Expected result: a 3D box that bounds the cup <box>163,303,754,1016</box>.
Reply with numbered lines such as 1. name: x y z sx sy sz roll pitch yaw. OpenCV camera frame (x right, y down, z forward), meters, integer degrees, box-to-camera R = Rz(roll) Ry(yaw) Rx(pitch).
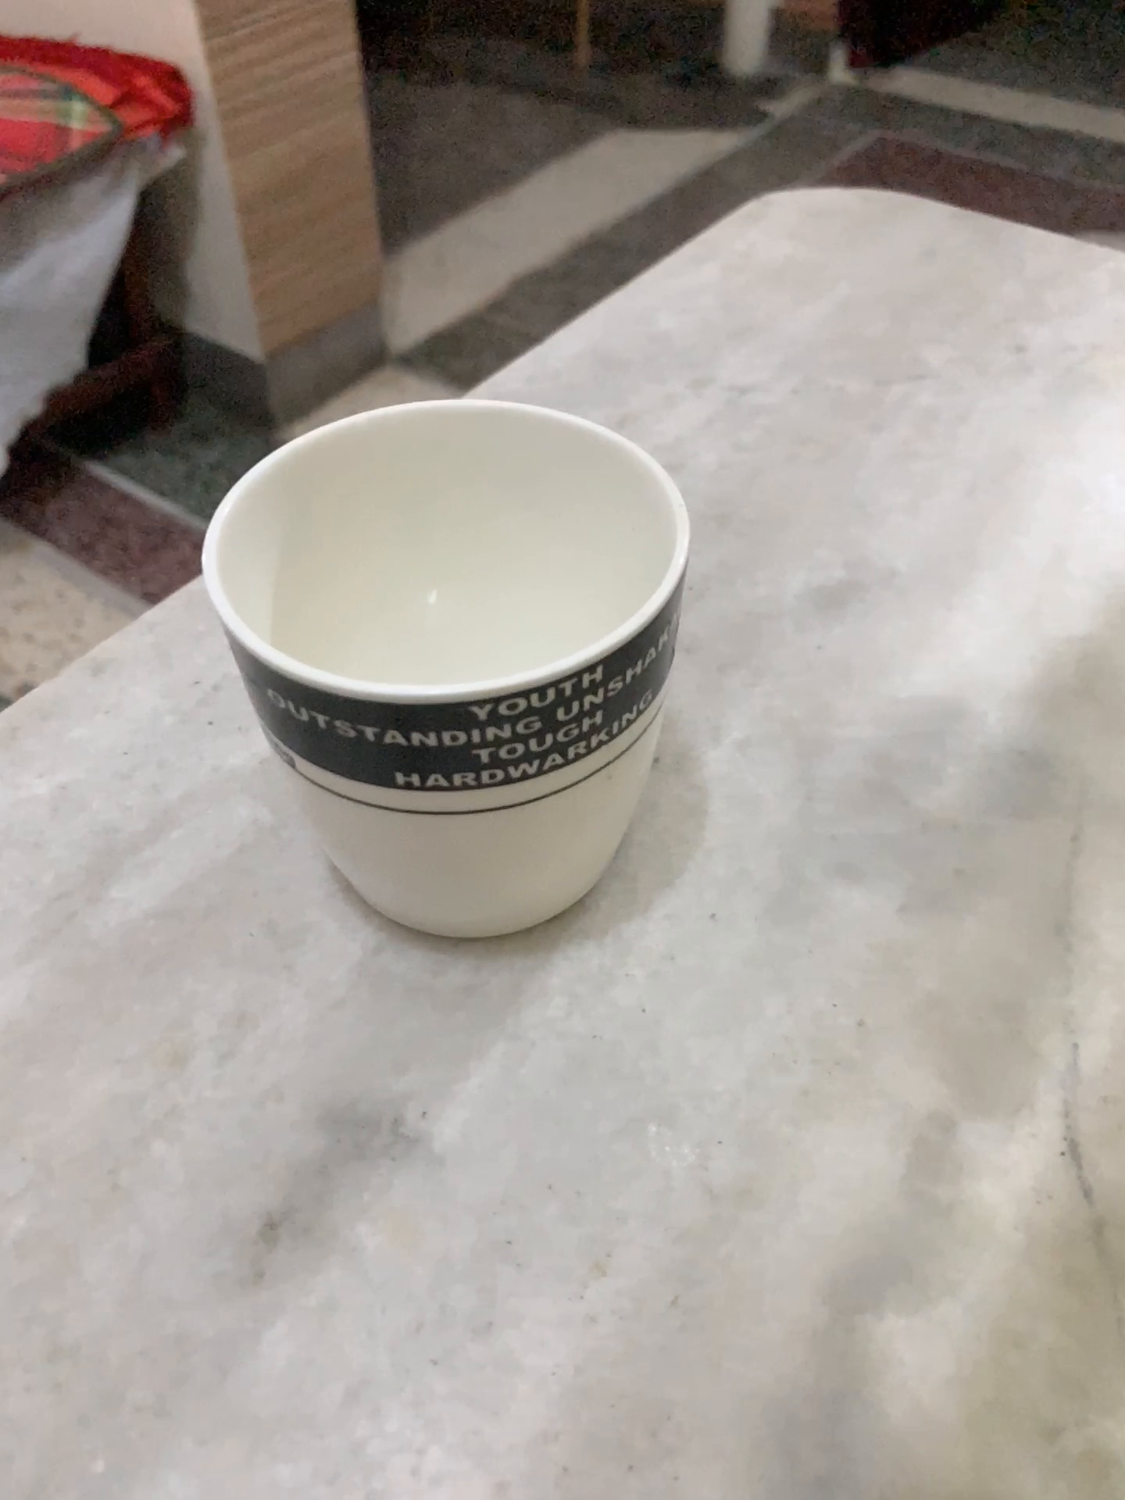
1. cup: -0.020 -0.018 0.190 0.070 0.060 0.090 -10 48 -7
